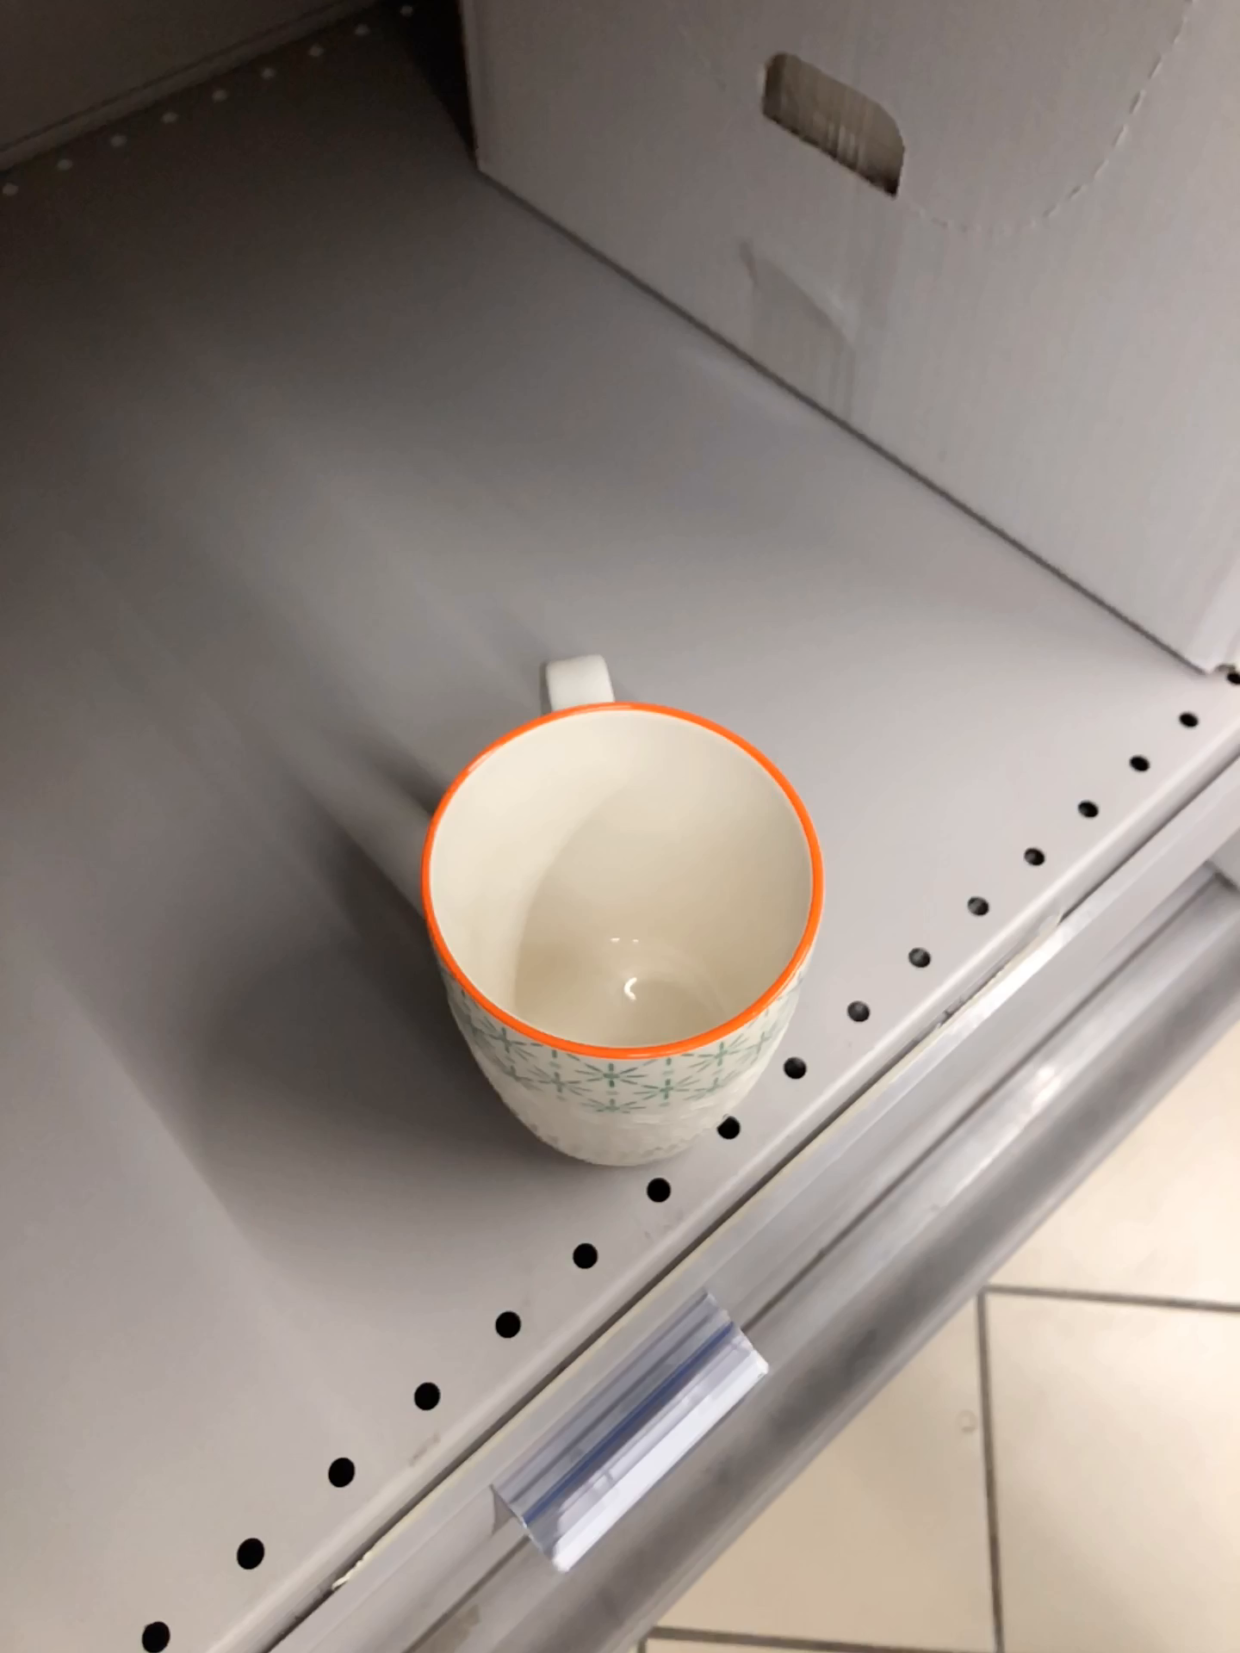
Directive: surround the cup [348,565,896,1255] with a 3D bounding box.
[{"bbox_3d":[-0.002,0.023,0.333,0.092,0.100,0.118,-12,61,-3],"label":"cup"}]
